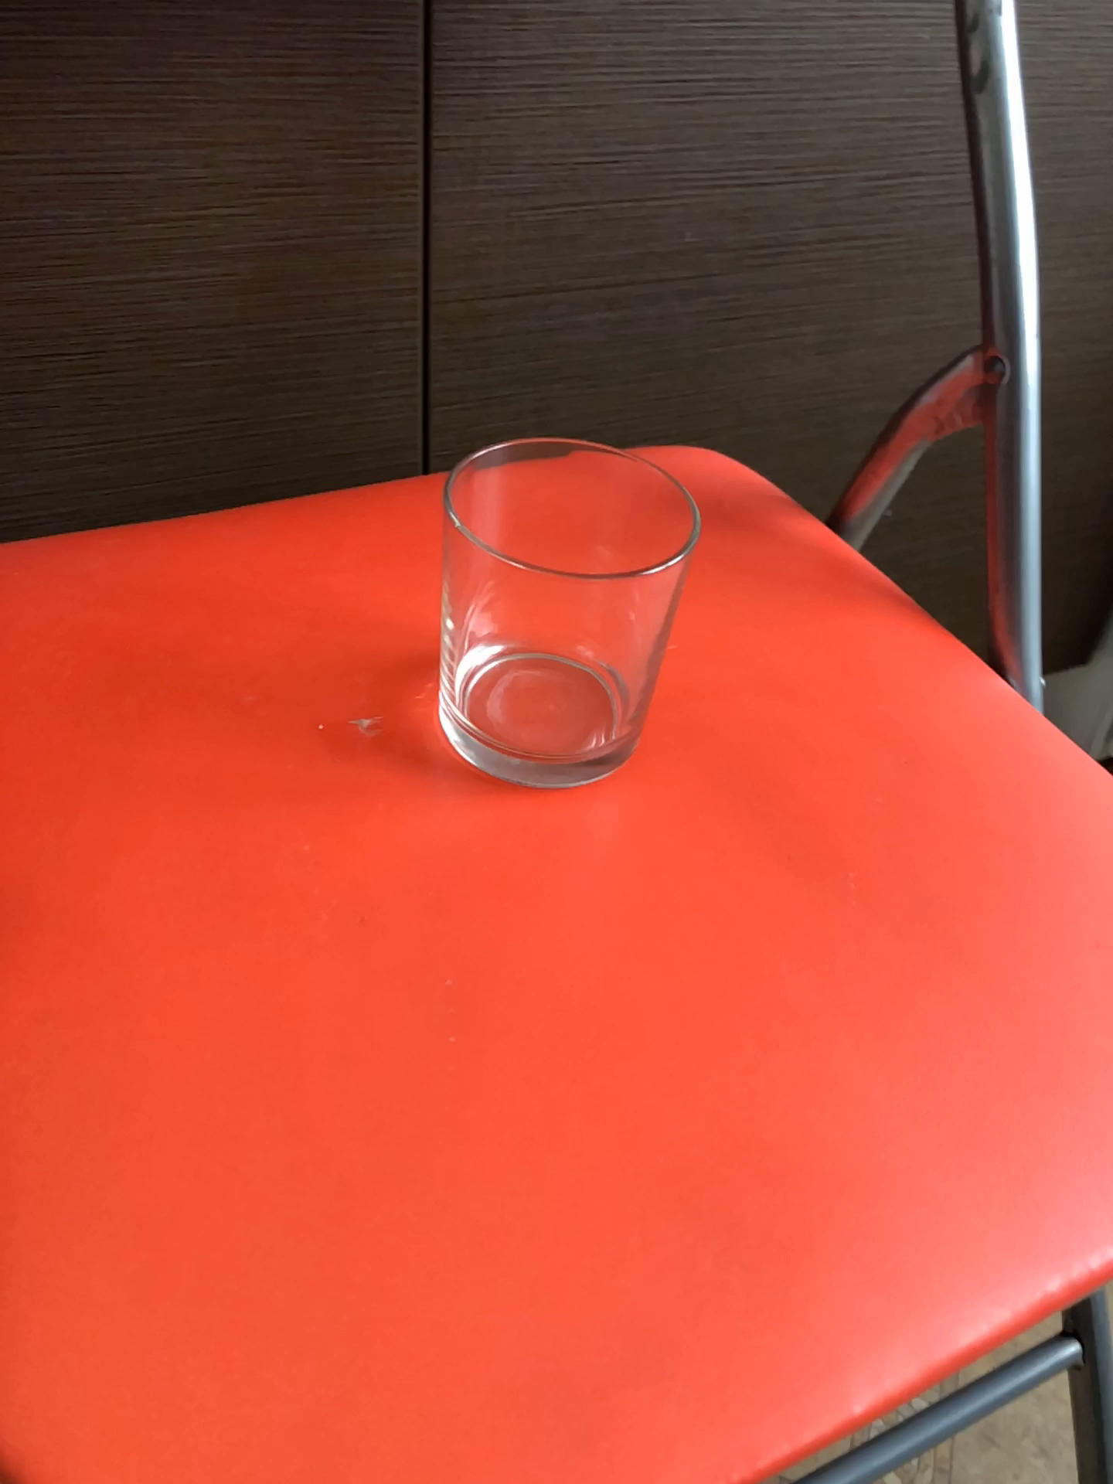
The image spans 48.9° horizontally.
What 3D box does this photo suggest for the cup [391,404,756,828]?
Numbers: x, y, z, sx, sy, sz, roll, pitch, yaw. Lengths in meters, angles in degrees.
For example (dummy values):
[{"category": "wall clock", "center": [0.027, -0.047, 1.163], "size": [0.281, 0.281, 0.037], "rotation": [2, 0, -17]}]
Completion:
[{"category": "cup", "center": [0.004, -0.040, 0.375], "size": [0.080, 0.082, 0.078], "rotation": [5, 40, -4]}]
